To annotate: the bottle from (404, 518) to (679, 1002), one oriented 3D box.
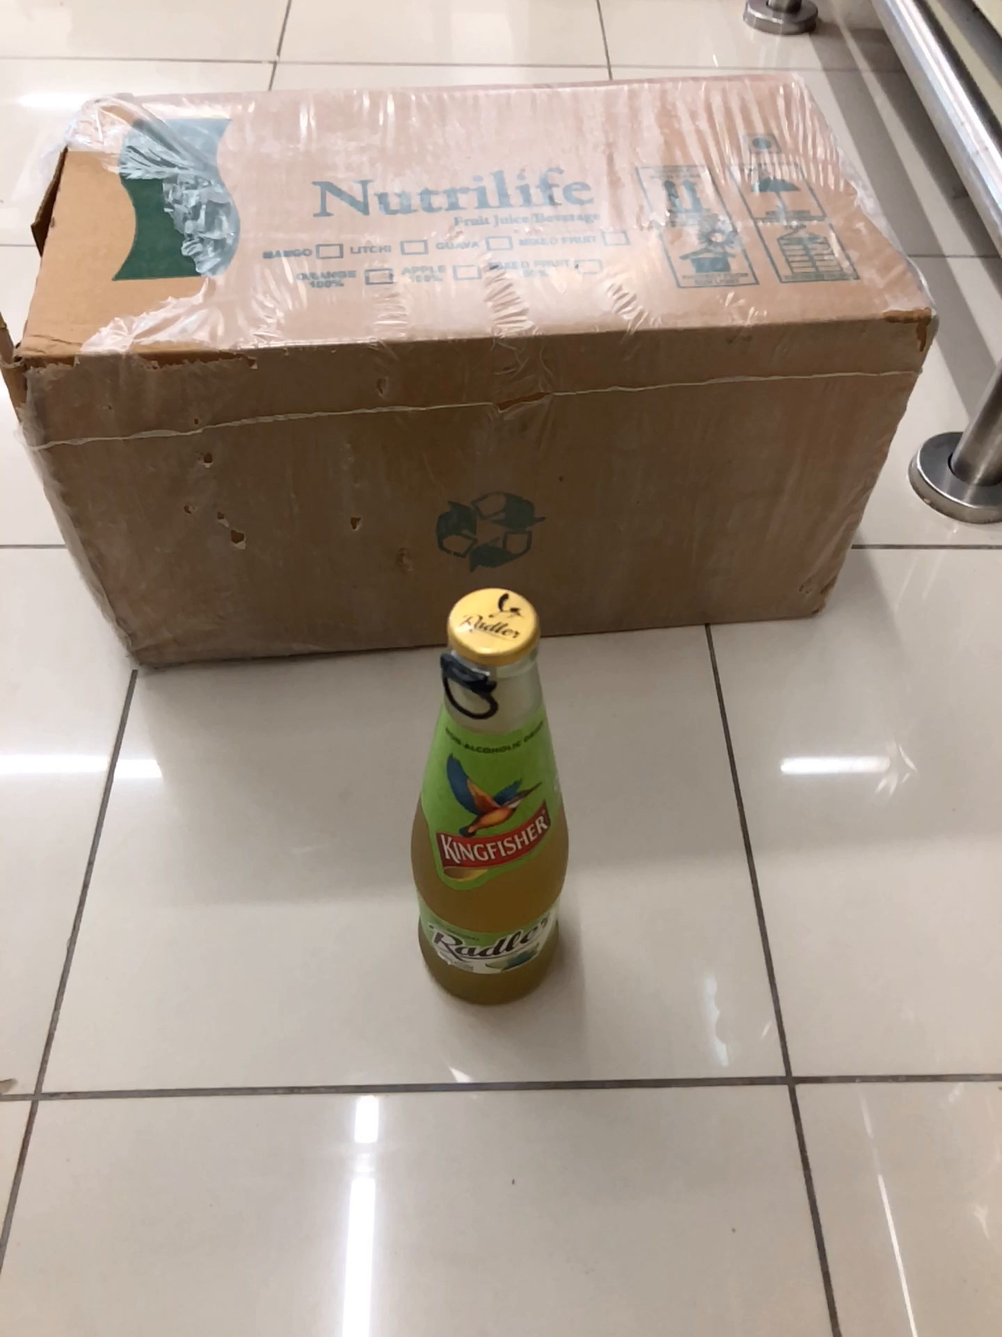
[{"bbox_3d":[0.007,0.045,0.381,0.070,0.209,0.060,-1,52,-2],"label":"bottle"}]
